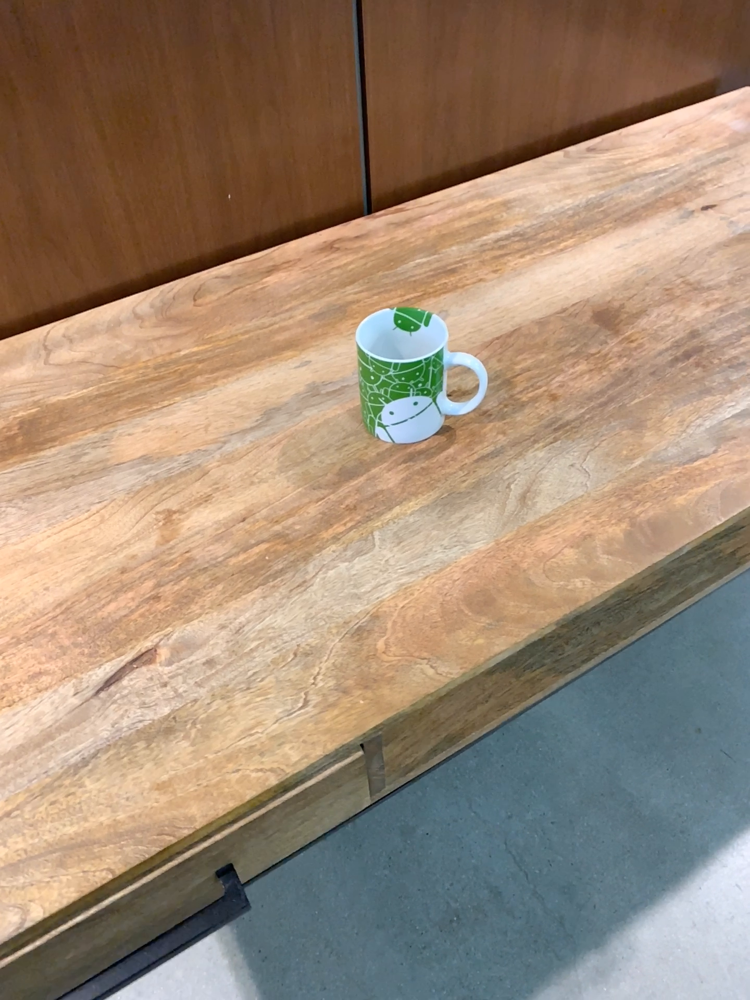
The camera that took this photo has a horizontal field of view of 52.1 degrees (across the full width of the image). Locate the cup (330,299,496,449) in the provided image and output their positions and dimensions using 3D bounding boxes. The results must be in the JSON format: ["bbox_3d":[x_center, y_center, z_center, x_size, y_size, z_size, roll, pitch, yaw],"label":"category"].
[{"bbox_3d":[0.036,-0.113,0.674,0.120,0.070,0.100,10,48,12],"label":"cup"}]
